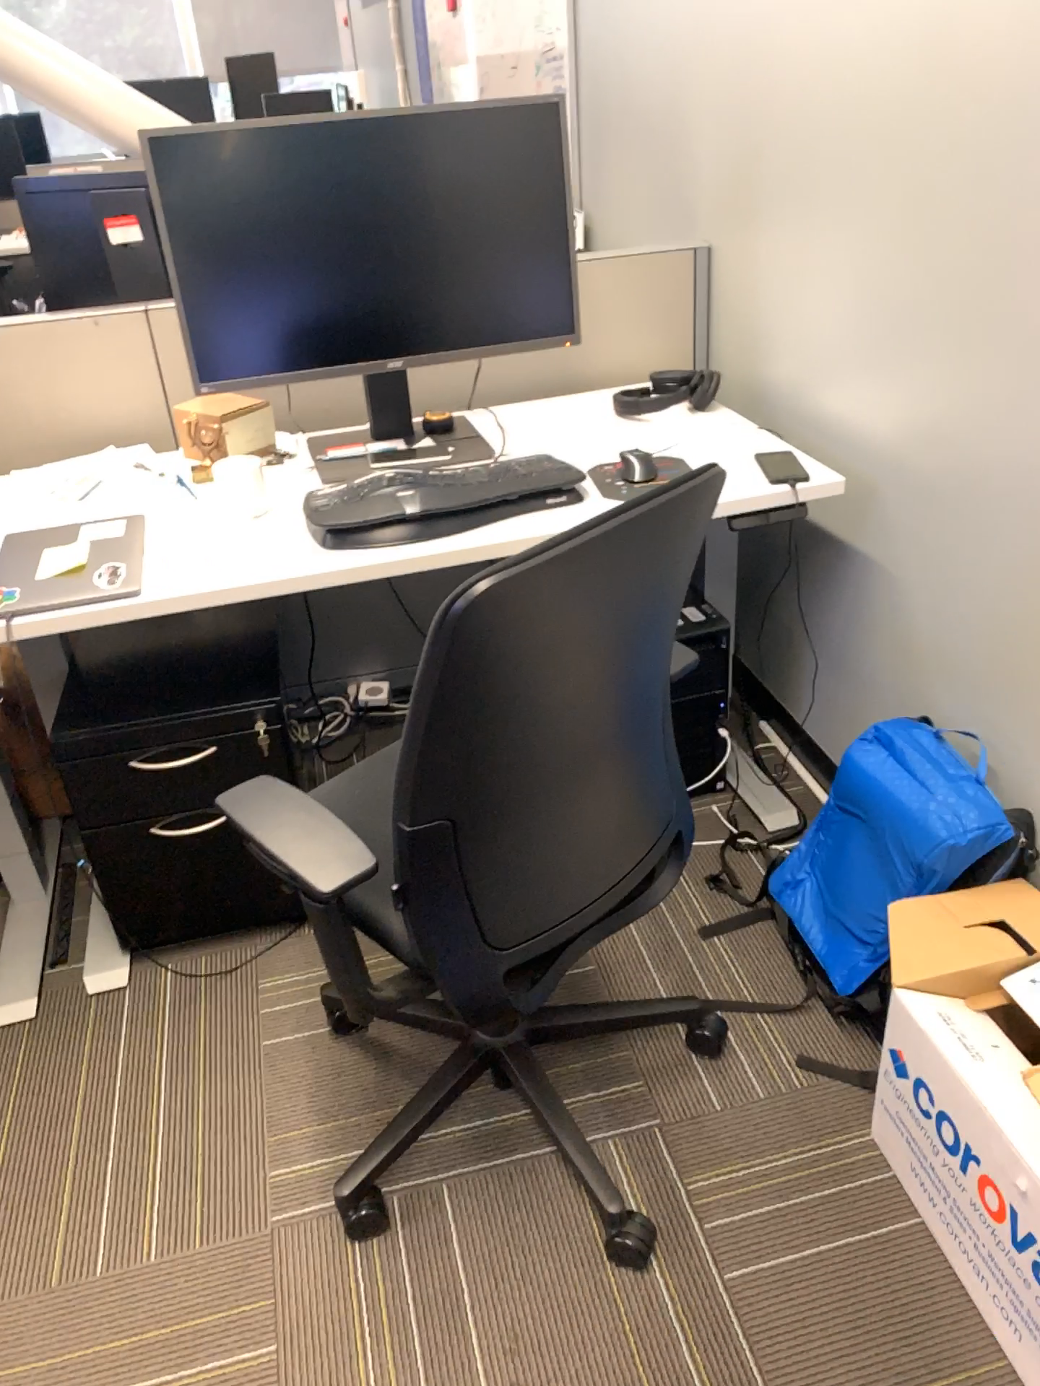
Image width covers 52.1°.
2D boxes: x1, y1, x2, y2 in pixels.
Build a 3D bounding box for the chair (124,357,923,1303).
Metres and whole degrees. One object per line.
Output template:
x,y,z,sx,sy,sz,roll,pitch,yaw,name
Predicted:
0.067,0.113,1.574,0.612,0.945,0.832,21,39,36,chair
